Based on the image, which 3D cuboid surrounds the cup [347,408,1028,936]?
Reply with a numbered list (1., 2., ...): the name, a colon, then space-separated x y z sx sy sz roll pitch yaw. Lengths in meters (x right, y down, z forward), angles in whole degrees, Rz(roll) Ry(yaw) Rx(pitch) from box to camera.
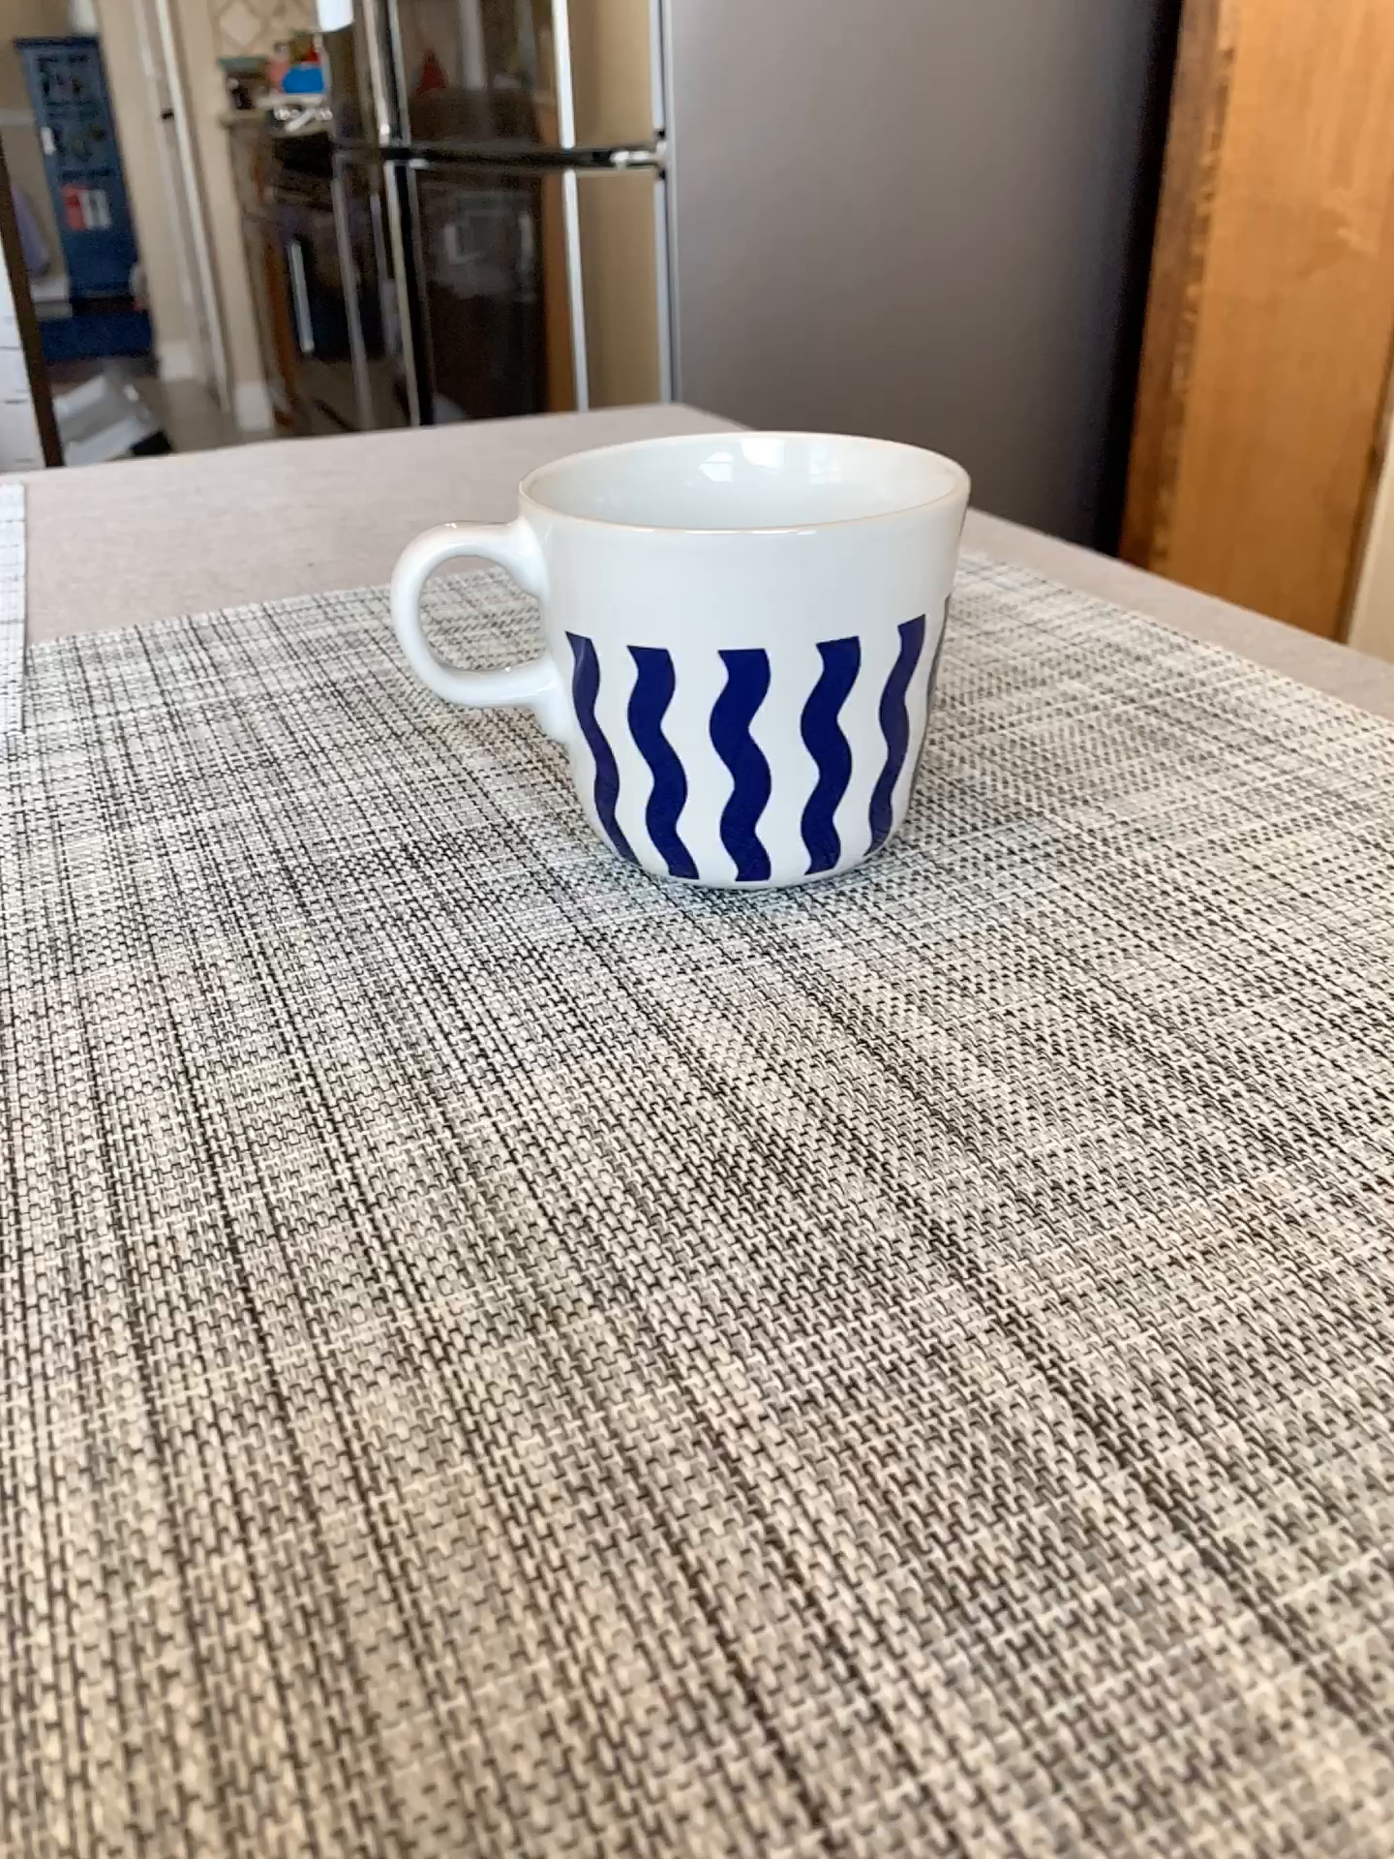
1. cup: -0.006 -0.057 0.291 0.112 0.072 0.087 -5 30 -7
